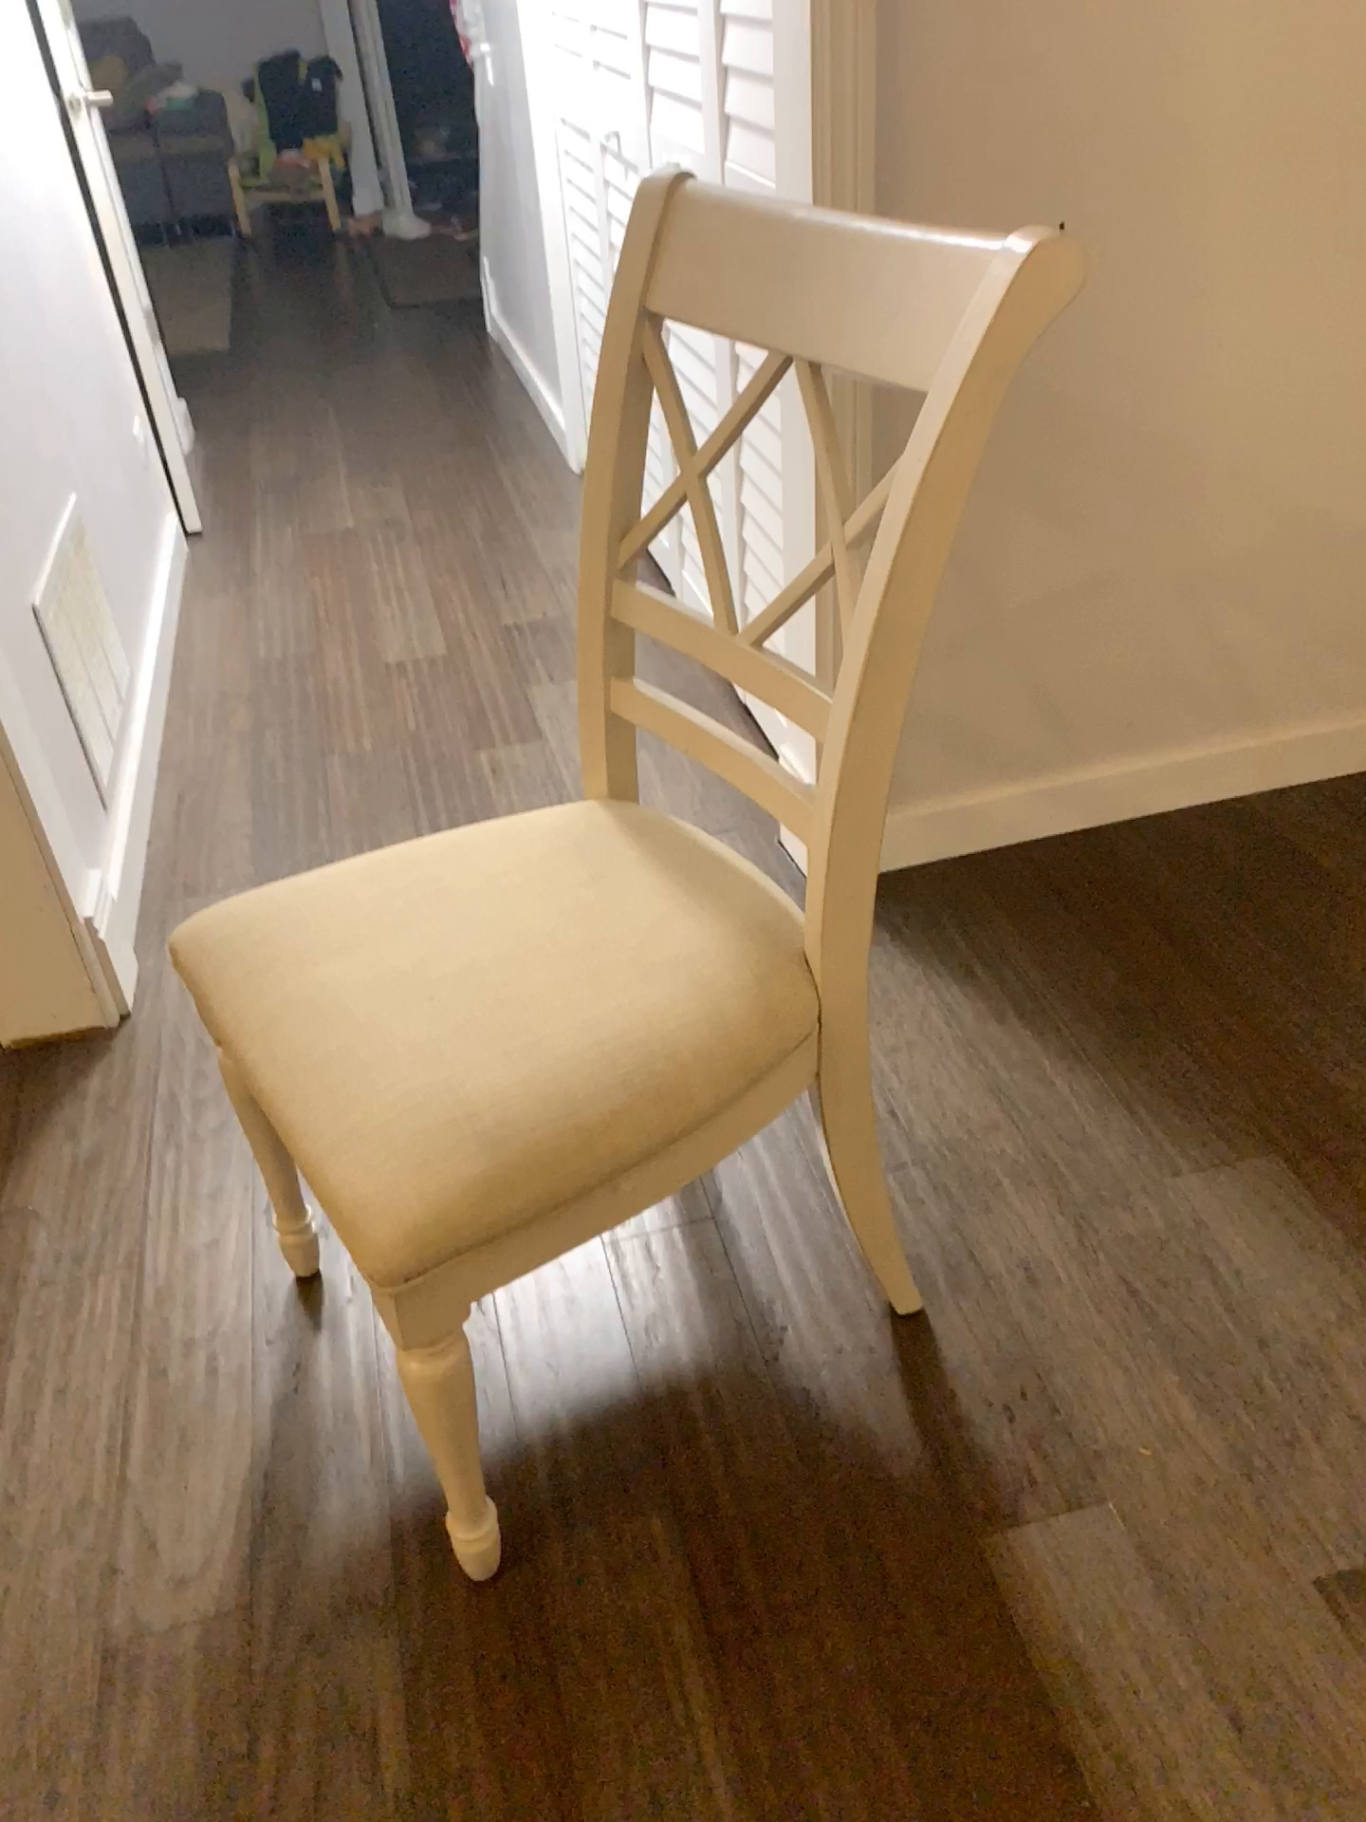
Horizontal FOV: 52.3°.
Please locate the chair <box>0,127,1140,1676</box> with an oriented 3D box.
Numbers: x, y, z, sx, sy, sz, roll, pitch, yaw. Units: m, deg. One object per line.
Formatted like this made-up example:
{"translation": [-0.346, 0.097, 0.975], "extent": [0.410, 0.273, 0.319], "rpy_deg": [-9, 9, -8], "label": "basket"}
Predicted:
{"translation": [-0.117, -0.031, 1.168], "extent": [0.611, 0.994, 0.583], "rpy_deg": [-24, 40, -25], "label": "chair"}
